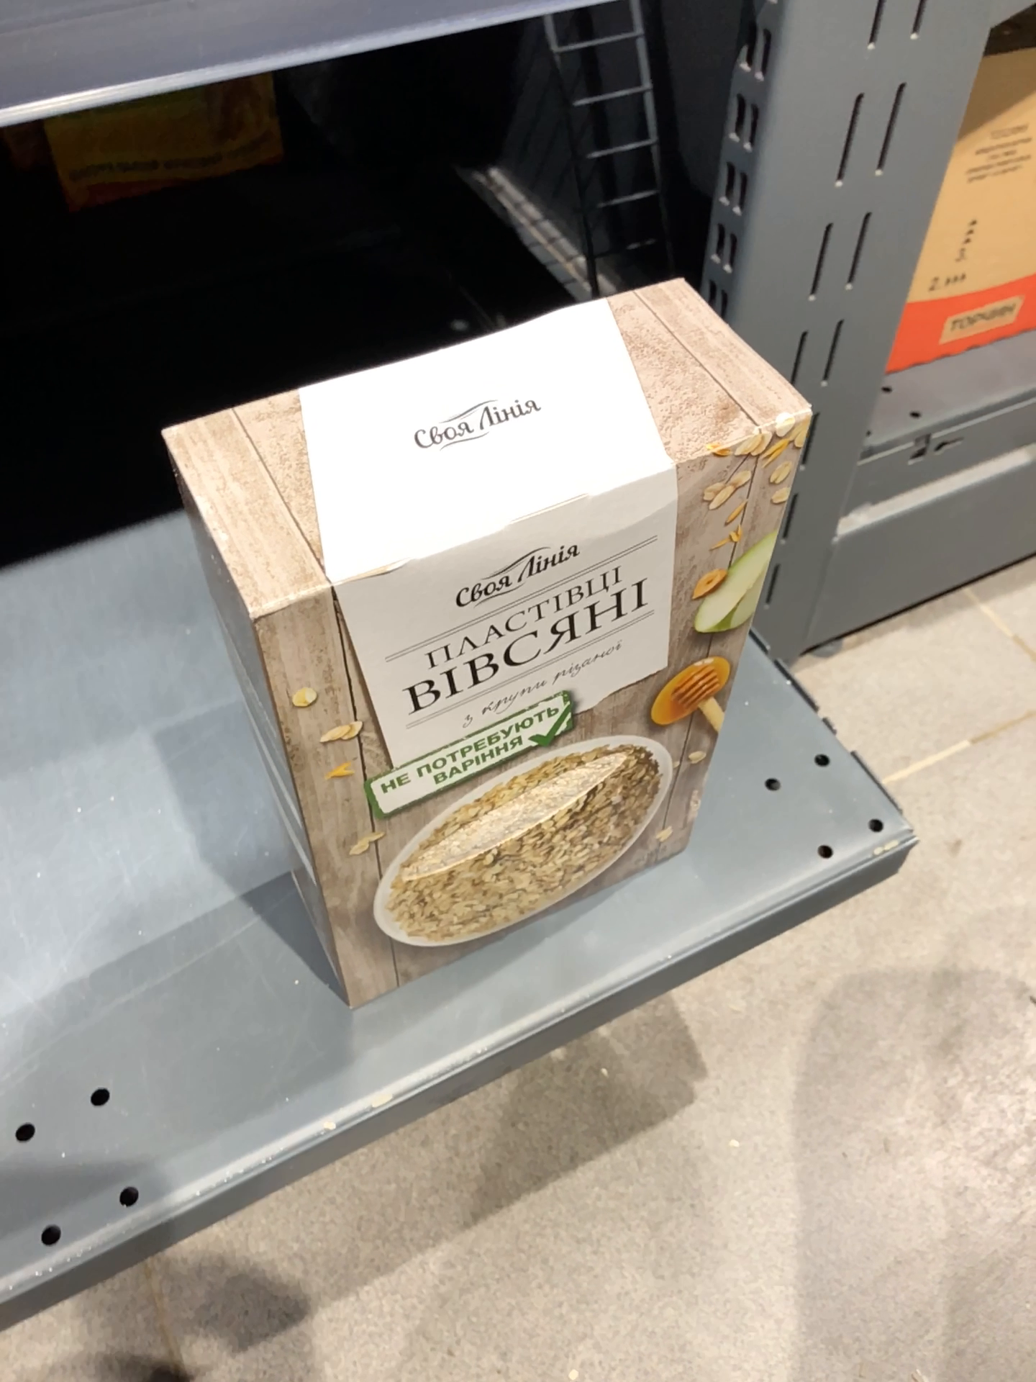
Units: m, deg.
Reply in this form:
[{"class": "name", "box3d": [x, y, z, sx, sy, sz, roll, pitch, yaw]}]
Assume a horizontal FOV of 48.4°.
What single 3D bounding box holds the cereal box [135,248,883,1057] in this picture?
[{"class": "cereal box", "box3d": [-0.004, 0.006, 0.347, 0.150, 0.228, 0.070, -22, 57, -18]}]
